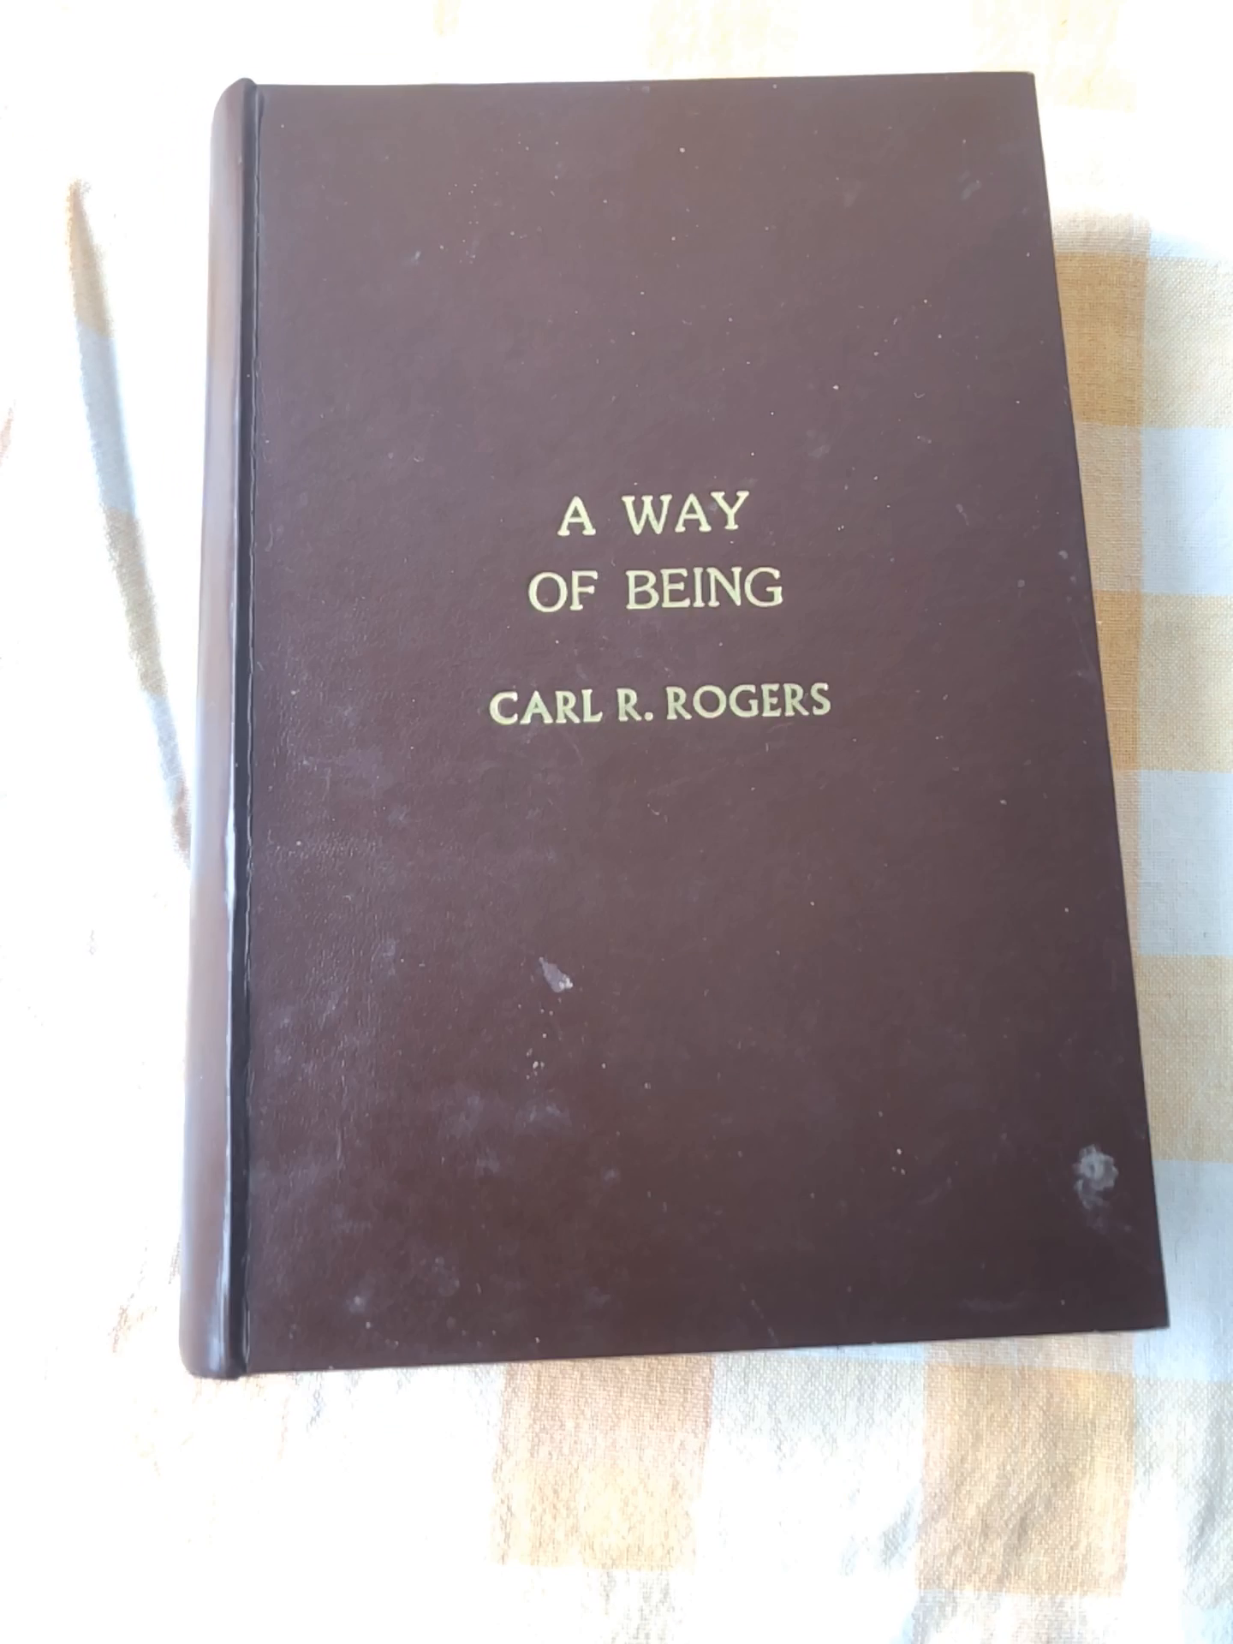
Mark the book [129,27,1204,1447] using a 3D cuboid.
[{"bbox_3d":[0.004,-0.018,0.229,0.140,0.060,0.210,-1,79,-2],"label":"book"}]
